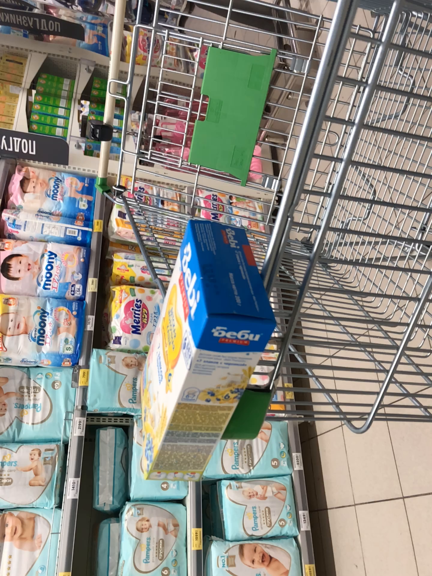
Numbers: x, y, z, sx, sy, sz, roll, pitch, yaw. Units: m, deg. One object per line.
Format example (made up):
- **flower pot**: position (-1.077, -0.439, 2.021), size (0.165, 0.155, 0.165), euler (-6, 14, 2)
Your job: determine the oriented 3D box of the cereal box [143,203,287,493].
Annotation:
- **cereal box**: position (-0.018, 0.057, 0.411), size (0.140, 0.050, 0.210), euler (-103, 26, -50)
